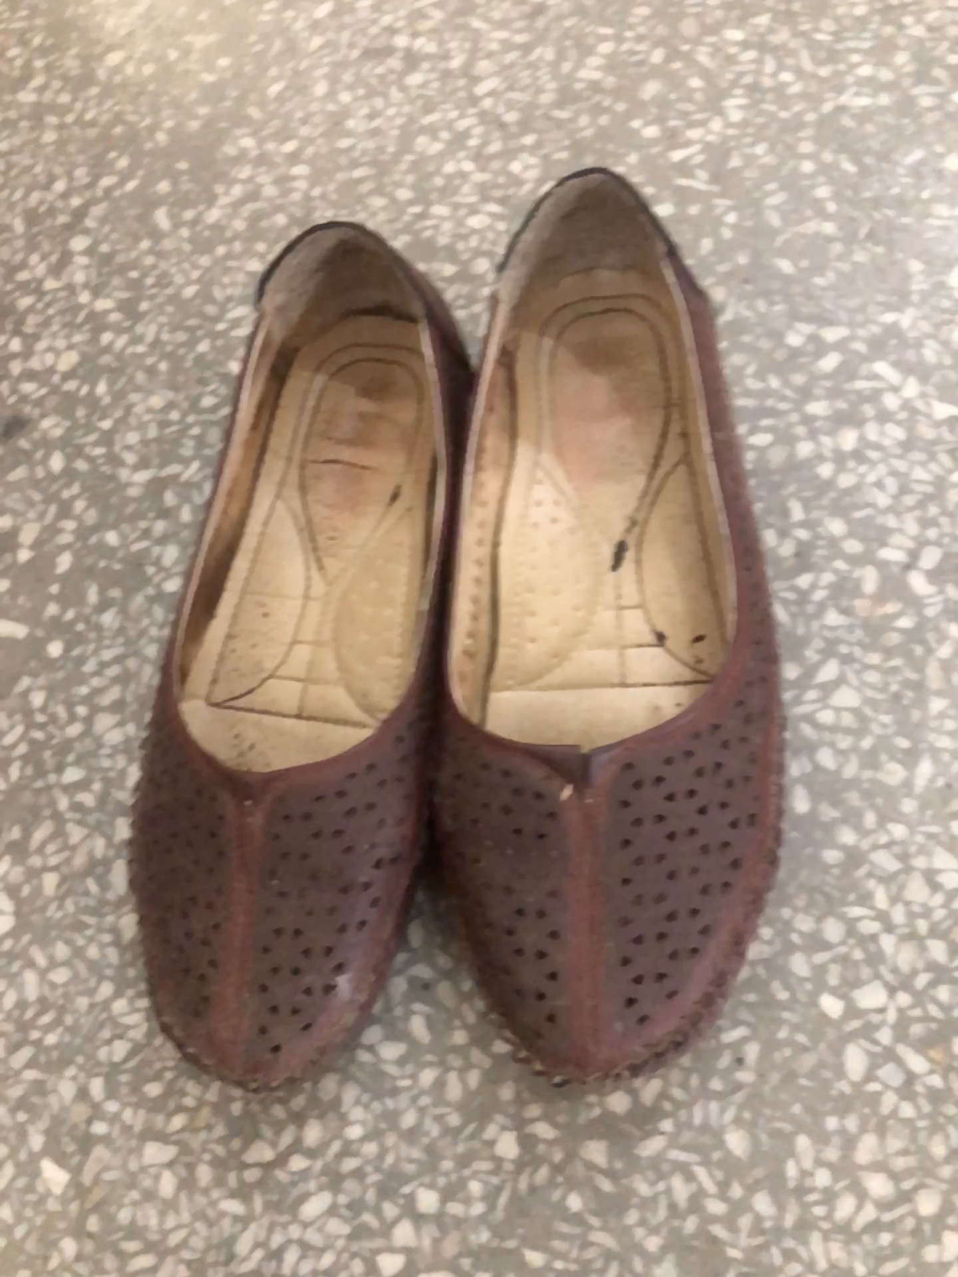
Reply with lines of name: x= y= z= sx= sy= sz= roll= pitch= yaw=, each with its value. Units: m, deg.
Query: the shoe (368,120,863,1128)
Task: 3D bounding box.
shoe: x=0.031 y=-0.005 z=0.279 sx=0.095 sy=0.080 sz=0.231 roll=-4 pitch=72 yaw=10

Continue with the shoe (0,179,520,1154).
shoe: x=-0.051 y=0.001 z=0.296 sx=0.087 sy=0.080 sz=0.236 roll=4 pitch=73 yaw=13
